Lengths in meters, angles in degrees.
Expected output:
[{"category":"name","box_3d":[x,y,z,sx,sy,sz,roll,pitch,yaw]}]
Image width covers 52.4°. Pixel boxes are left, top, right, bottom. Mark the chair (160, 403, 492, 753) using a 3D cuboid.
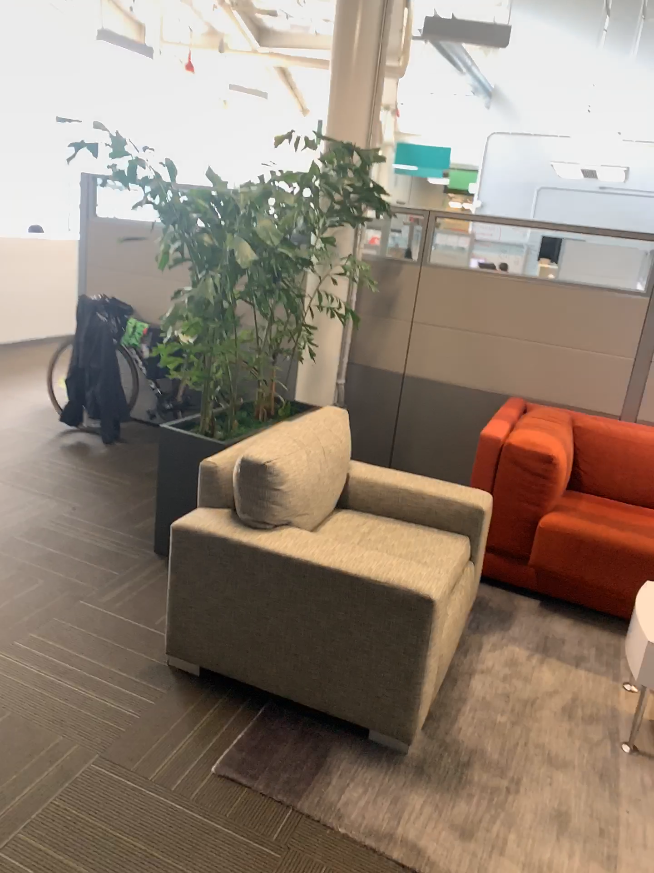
[{"category":"chair","box_3d":[0.038,0.403,2.450,0.871,0.727,0.922,13,18,18]}]
